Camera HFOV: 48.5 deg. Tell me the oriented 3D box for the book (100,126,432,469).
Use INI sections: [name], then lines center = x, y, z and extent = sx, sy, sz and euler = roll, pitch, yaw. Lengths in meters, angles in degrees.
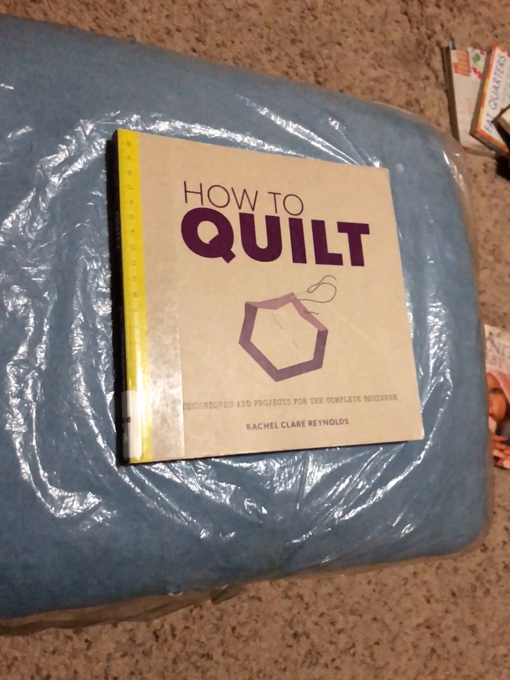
[book]
center = 0.012, -0.026, 0.361
extent = 0.208, 0.020, 0.194
euler = 0, 79, -23
